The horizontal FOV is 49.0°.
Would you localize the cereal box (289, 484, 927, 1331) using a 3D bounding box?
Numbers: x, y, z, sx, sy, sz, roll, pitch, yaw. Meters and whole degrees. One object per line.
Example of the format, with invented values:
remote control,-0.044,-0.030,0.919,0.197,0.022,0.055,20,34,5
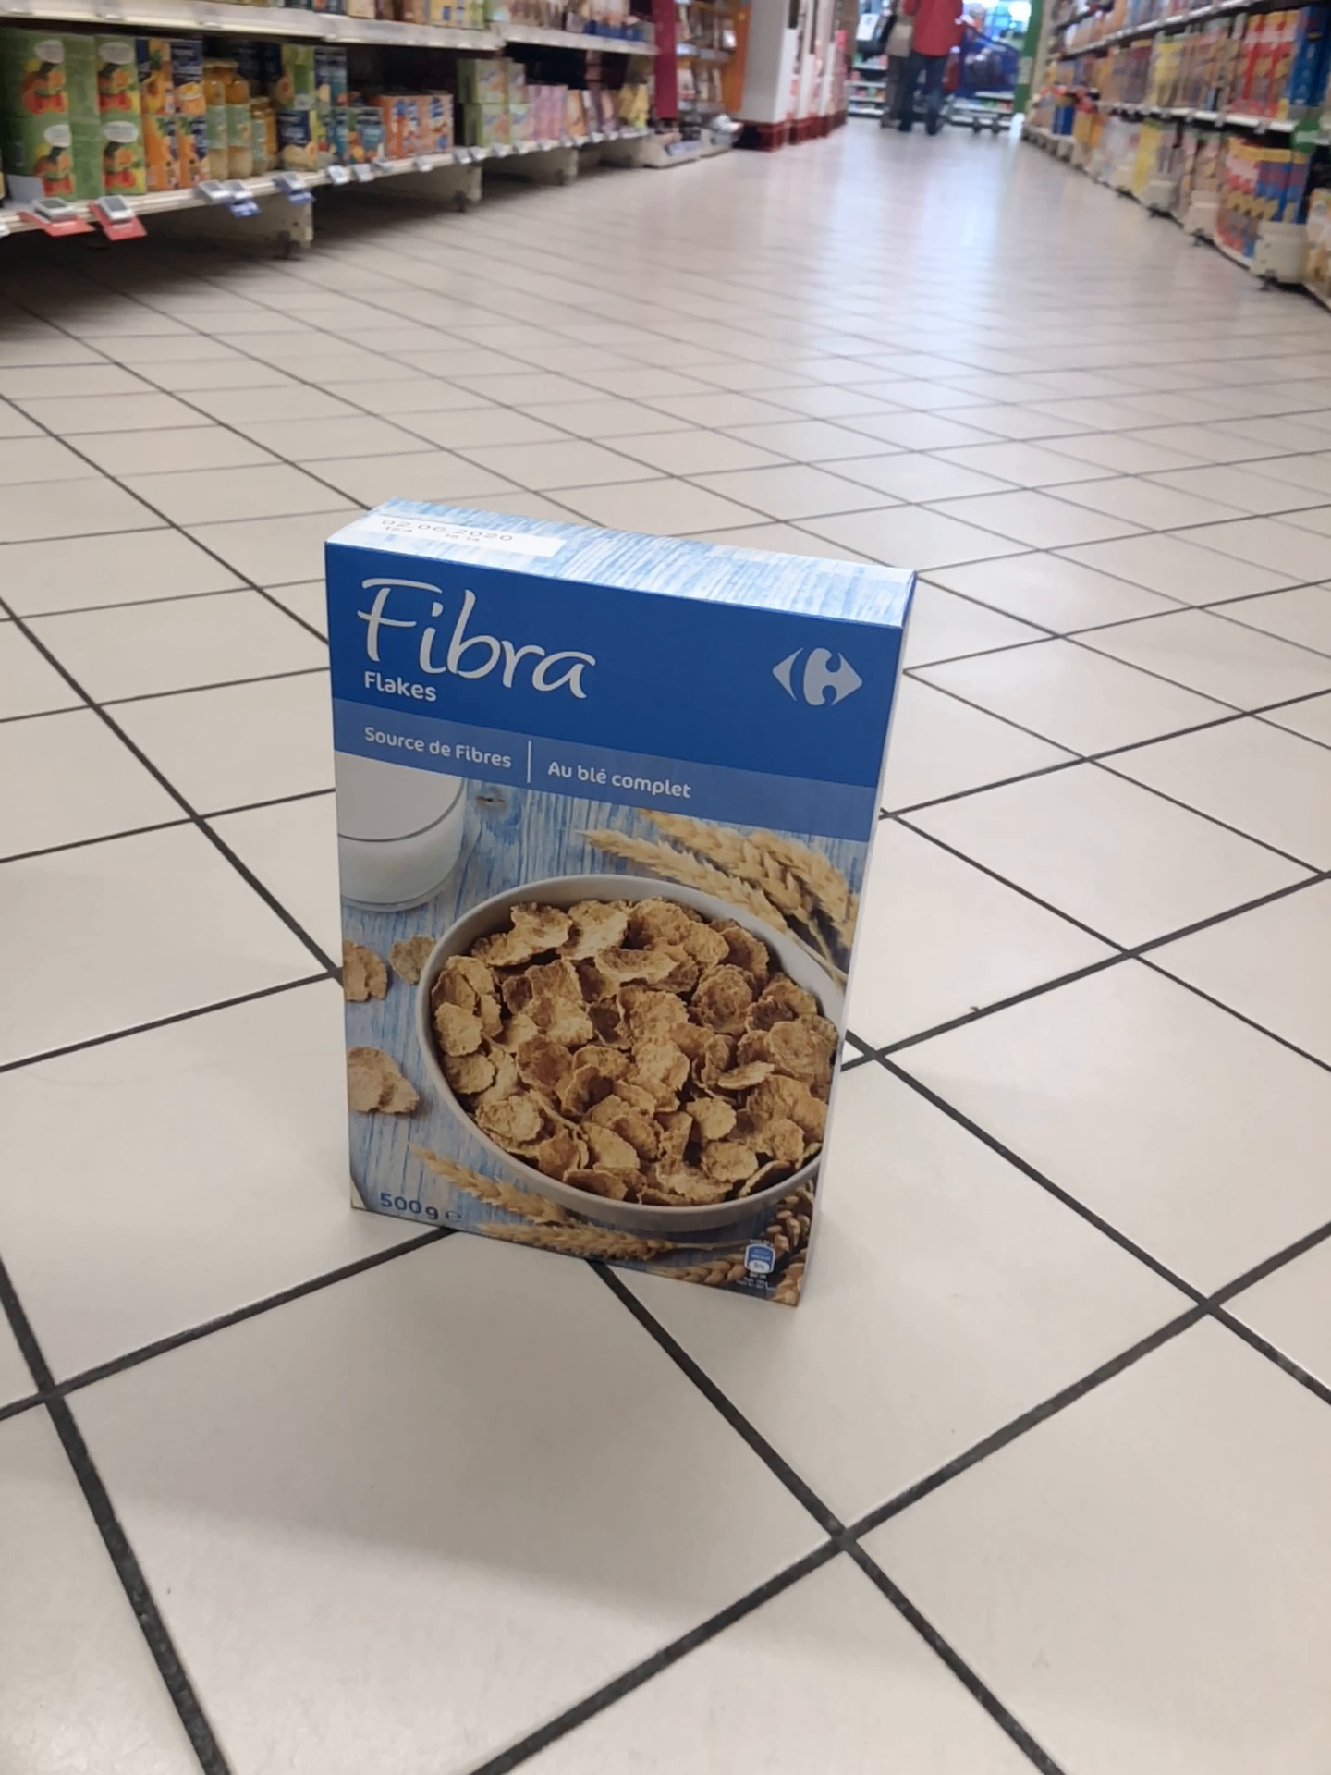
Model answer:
cereal box,-0.027,0.014,0.551,0.200,0.288,0.070,10,29,10
